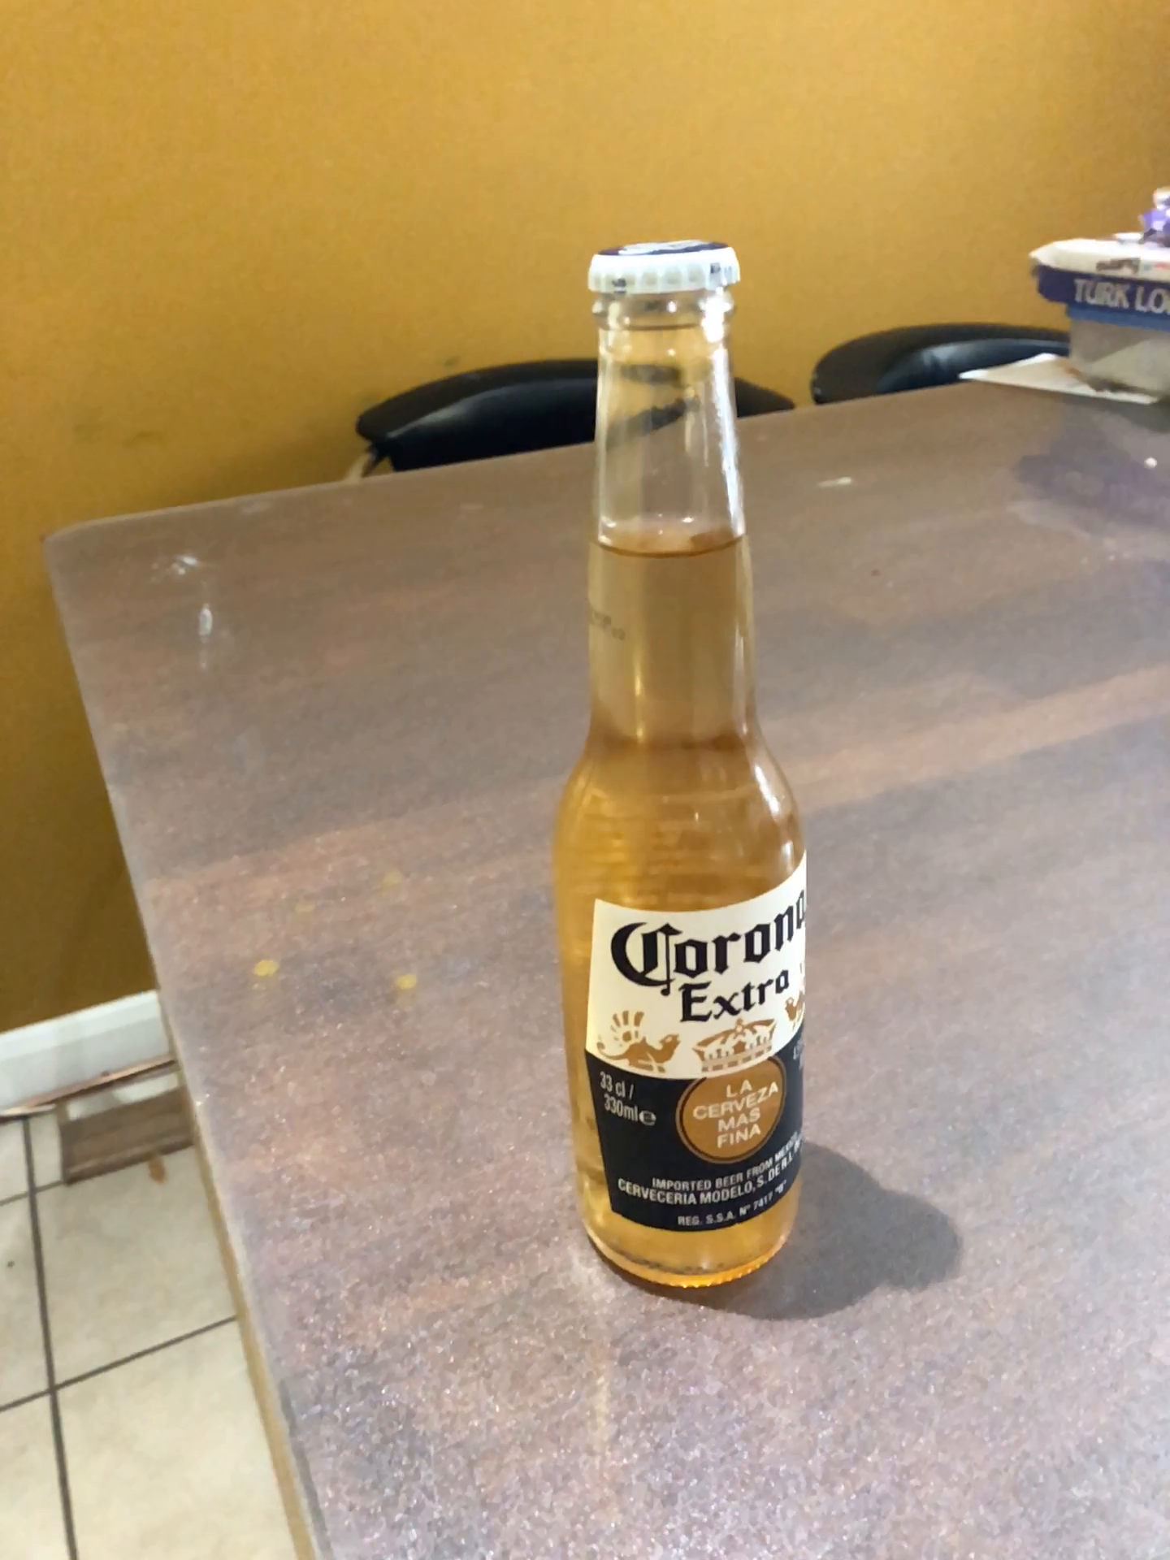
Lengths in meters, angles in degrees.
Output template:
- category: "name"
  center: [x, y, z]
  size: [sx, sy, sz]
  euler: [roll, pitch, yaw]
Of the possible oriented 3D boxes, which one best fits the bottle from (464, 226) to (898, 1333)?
- category: "bottle"
  center: [0.021, 0.008, 0.292]
  size: [0.060, 0.238, 0.060]
  euler: [-3, 27, 1]
